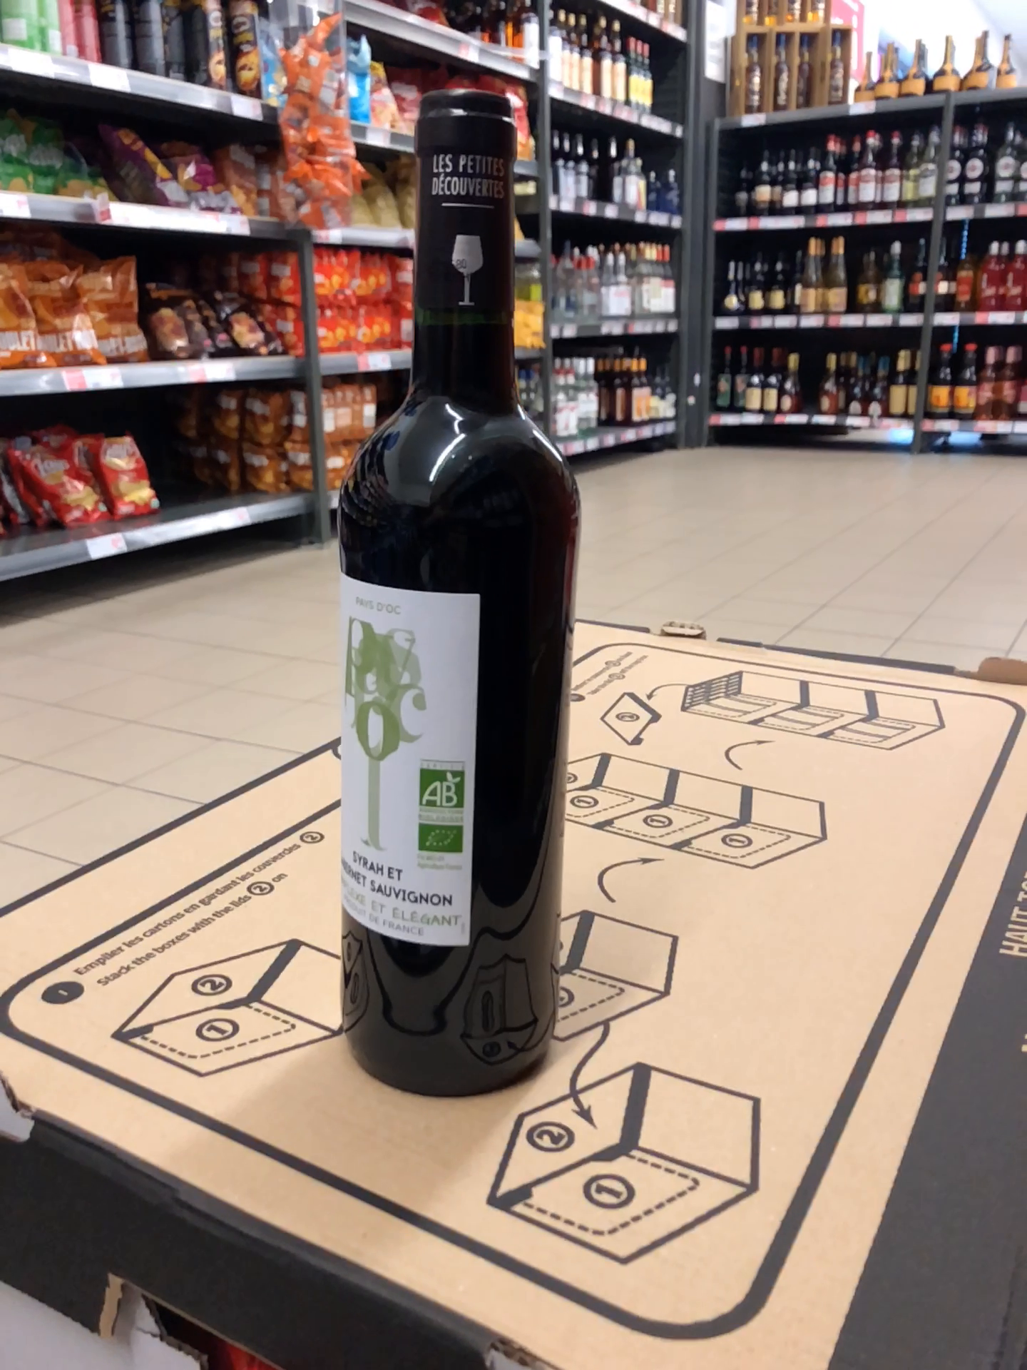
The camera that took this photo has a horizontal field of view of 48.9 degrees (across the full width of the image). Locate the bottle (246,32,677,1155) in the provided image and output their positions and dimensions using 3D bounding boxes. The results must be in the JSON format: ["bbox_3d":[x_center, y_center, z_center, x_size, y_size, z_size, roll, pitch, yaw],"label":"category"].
[{"bbox_3d":[-0.015,-0.021,0.354,0.090,0.299,0.080,12,19,38],"label":"bottle"}]
